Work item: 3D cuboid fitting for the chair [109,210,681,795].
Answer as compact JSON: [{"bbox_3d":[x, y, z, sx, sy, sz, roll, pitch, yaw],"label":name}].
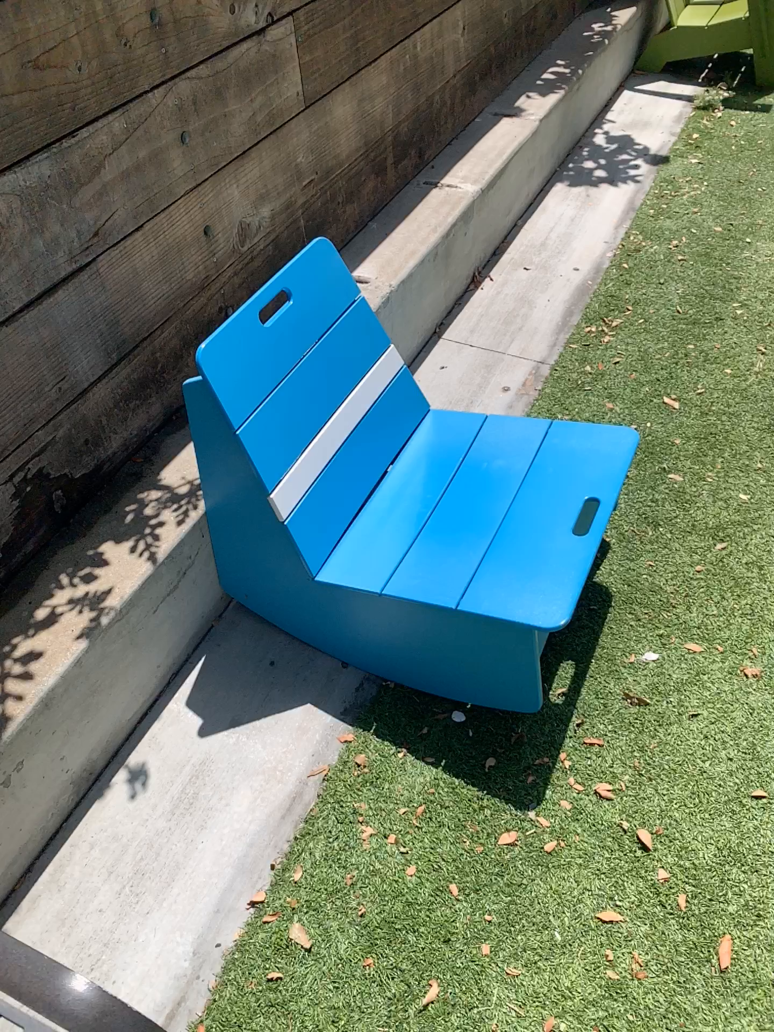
[{"bbox_3d":[0.043,-0.039,1.530,0.721,0.746,0.592,20,50,20],"label":"chair"}]
